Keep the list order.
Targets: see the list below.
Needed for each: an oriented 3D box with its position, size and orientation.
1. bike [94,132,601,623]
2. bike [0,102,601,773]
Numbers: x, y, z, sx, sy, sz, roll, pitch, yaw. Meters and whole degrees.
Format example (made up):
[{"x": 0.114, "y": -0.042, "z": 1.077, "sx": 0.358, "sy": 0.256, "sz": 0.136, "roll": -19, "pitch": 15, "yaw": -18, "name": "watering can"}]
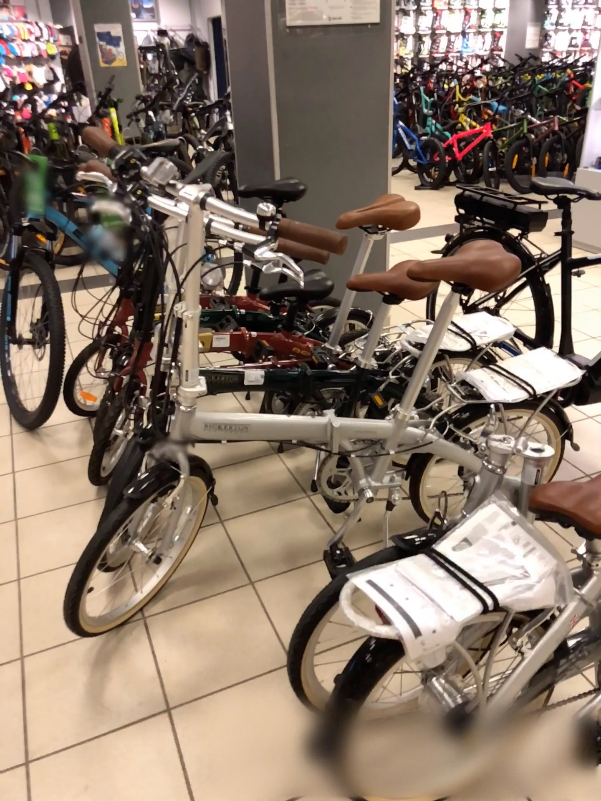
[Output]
[{"x": 0.153, "y": -0.133, "z": 1.861, "sx": 1.140, "sy": 1.037, "sz": 0.559, "roll": -14, "pitch": 29, "yaw": -21, "name": "bike"}, {"x": 0.128, "y": -0.018, "z": 1.479, "sx": 1.359, "sy": 1.153, "sz": 0.555, "roll": -11, "pitch": 28, "yaw": -19, "name": "bike"}]
